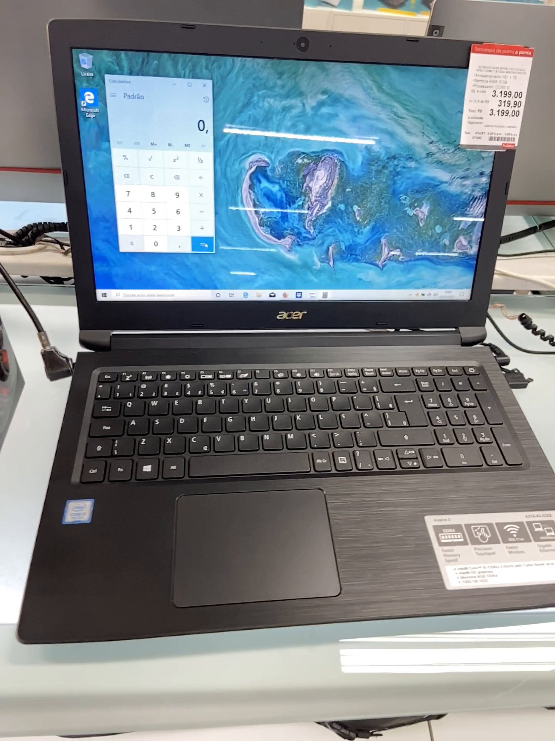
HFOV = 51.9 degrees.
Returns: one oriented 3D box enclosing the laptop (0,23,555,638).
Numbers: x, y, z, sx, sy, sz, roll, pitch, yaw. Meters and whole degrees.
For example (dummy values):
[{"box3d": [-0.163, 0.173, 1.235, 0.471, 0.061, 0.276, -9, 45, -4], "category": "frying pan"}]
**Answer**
[{"box3d": [0.029, -0.054, 0.397, 0.375, 0.227, 0.354, -1, 46, -6], "category": "laptop"}]
